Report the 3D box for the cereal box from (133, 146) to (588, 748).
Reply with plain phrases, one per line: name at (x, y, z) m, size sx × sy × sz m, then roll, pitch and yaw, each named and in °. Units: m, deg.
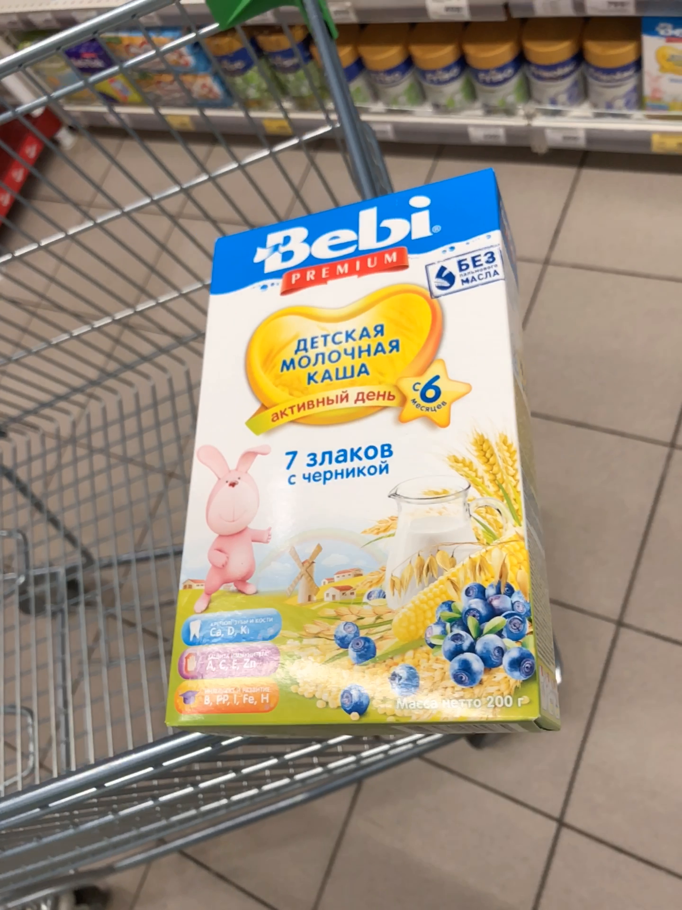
cereal box at (0.006, -0.002, 0.291) m, size 0.140 × 0.050 × 0.210 m, roll -8°, pitch 65°, yaw 19°
